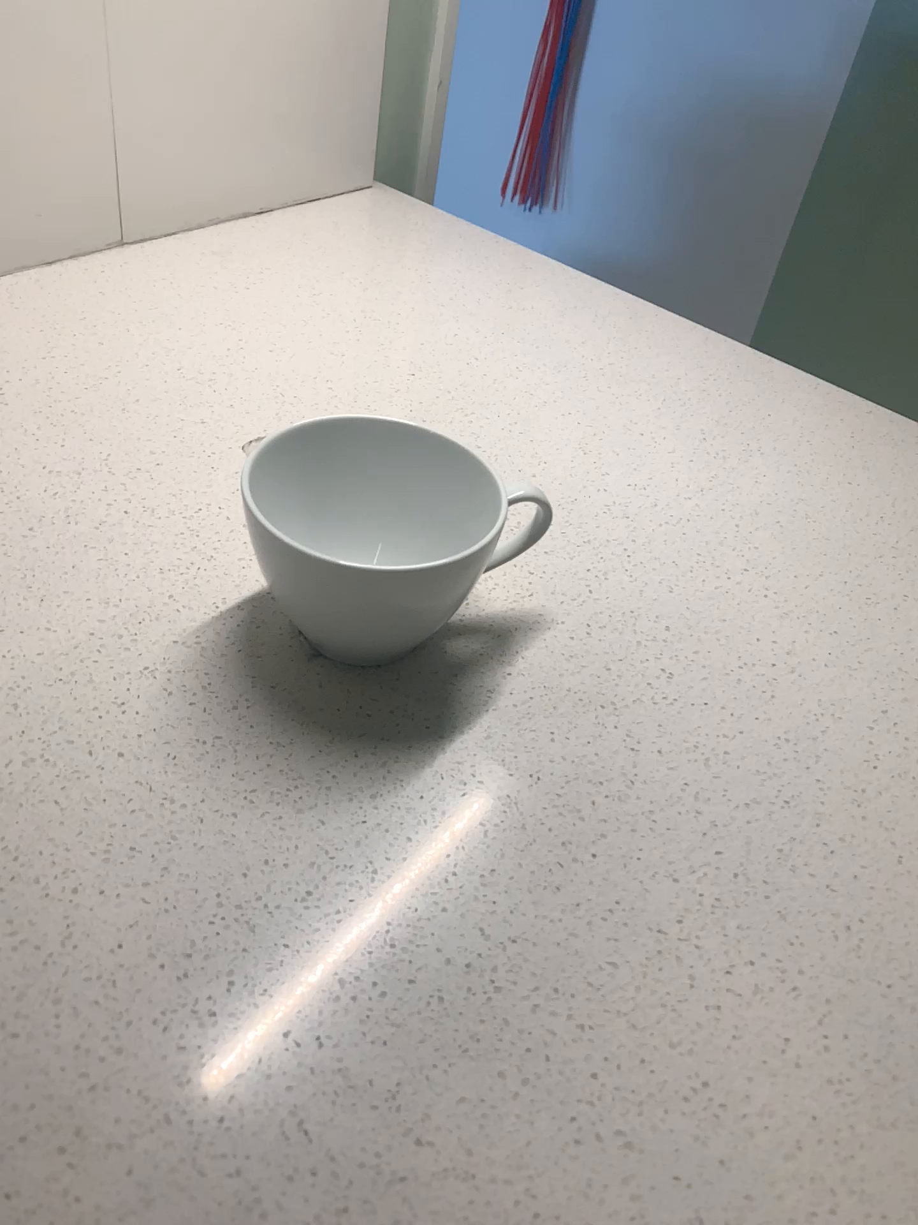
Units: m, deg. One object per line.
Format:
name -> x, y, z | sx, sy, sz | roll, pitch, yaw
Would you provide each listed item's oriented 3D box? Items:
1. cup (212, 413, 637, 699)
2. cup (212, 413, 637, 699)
cup -> -0.018, -0.026, 0.344 | 0.130, 0.050, 0.090 | -5, 44, -18
cup -> -0.018, -0.026, 0.344 | 0.130, 0.050, 0.090 | -5, 44, -18
